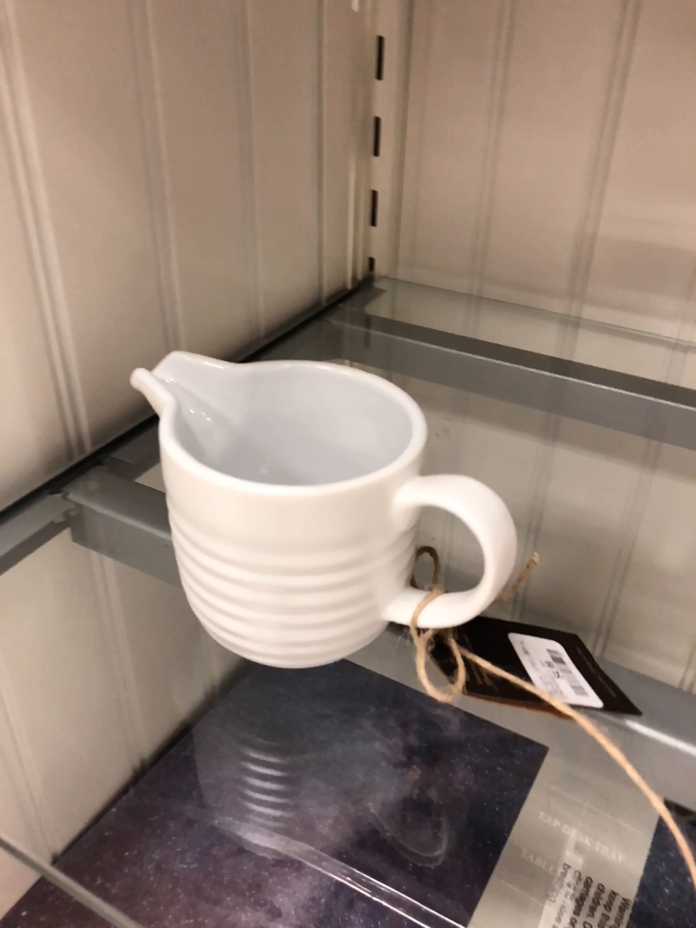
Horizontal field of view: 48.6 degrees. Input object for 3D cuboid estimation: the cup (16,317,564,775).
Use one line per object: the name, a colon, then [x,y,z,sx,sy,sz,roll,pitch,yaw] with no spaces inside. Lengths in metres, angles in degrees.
cup: [-0.019,0.014,0.237,0.140,0.069,0.070,20,37,25]
